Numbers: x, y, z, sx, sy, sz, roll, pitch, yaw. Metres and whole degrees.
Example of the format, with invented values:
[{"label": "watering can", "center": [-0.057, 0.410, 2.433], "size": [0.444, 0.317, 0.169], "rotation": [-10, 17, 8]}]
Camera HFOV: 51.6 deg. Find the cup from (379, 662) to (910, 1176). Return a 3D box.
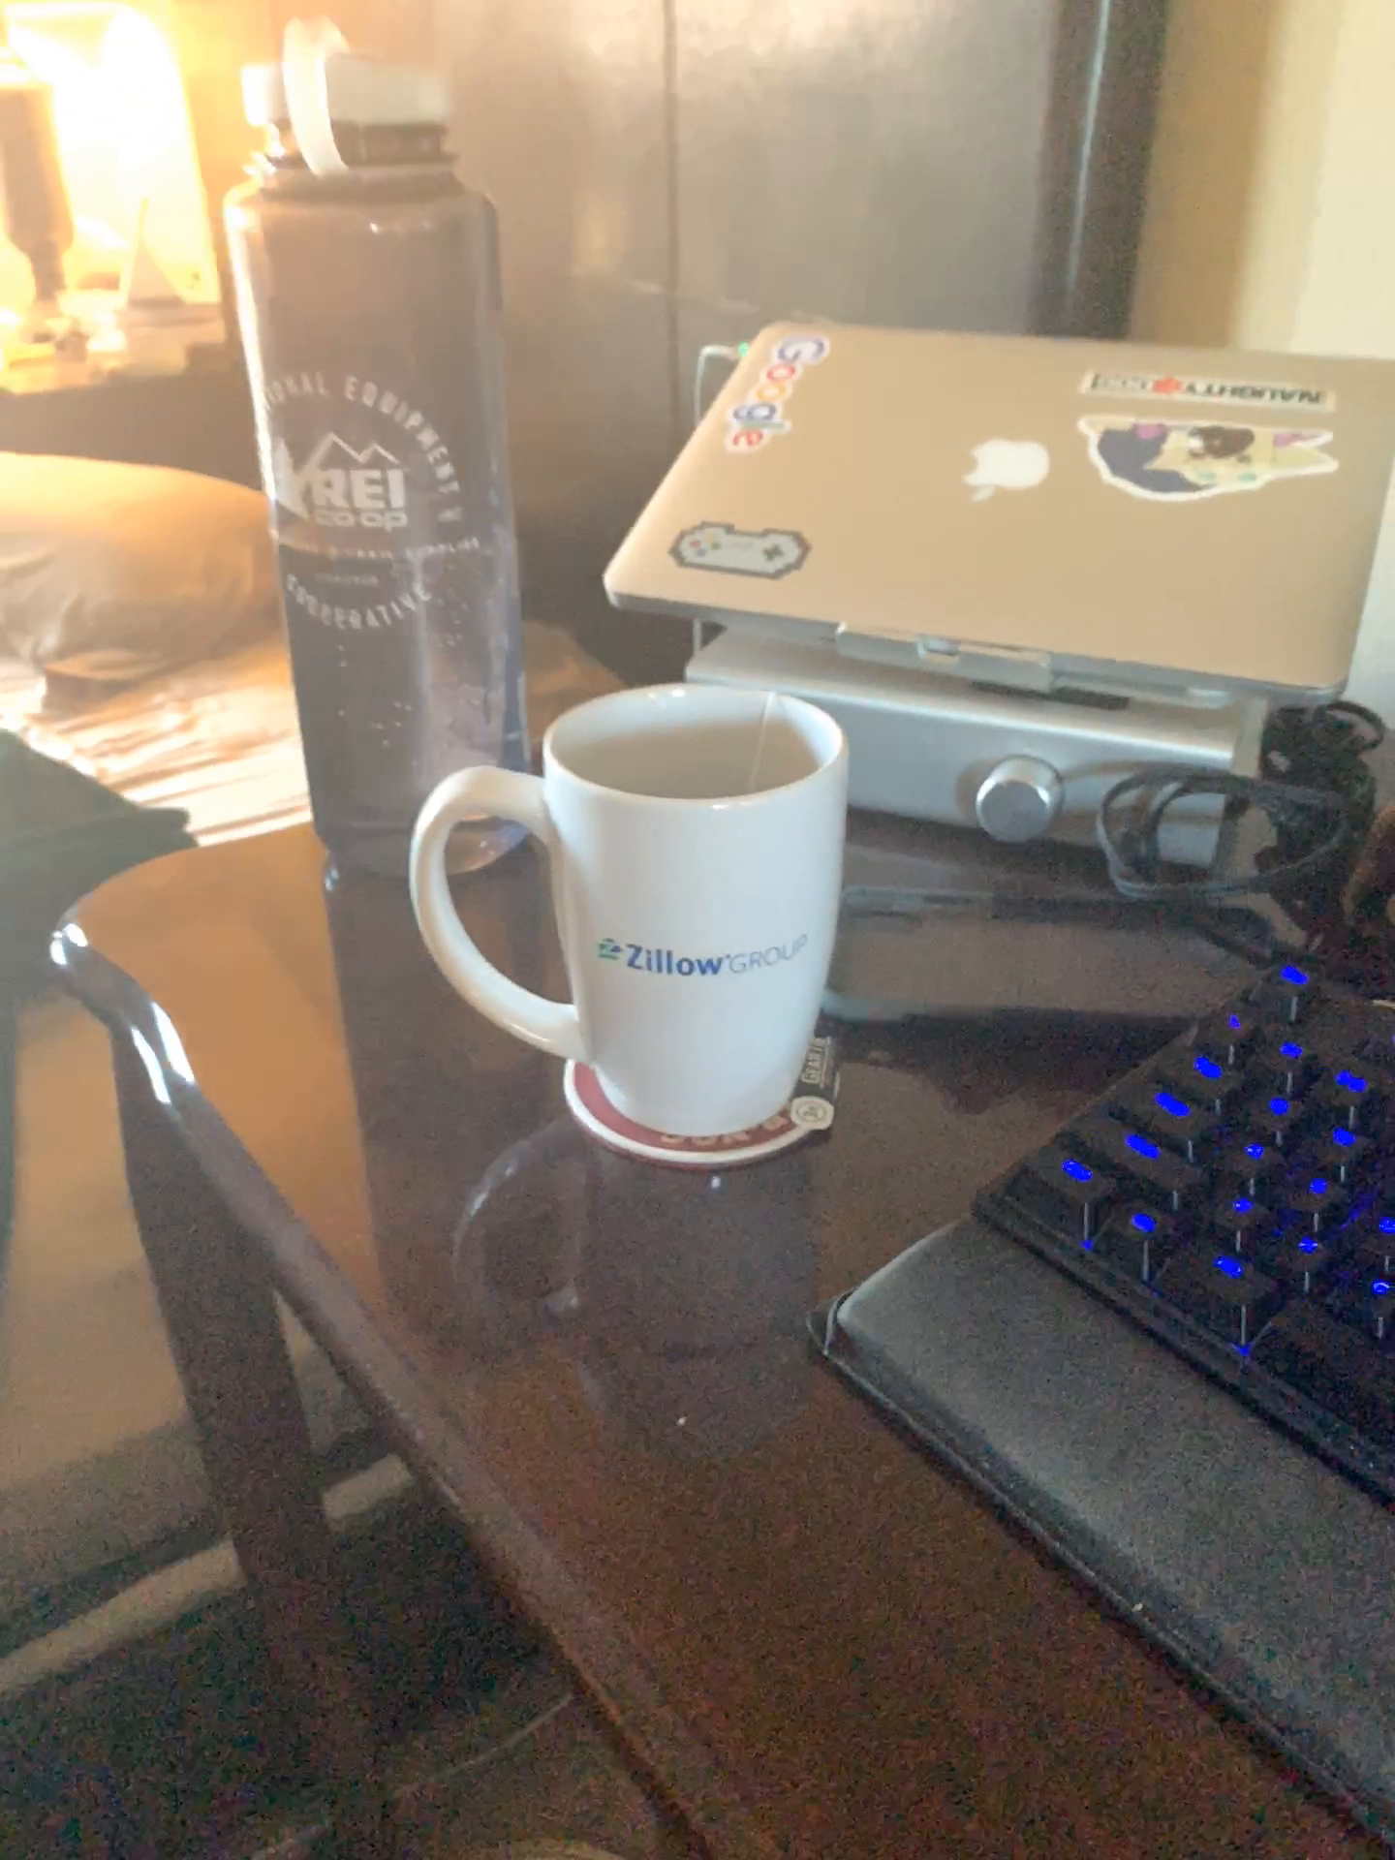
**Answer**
[{"label": "cup", "center": [-0.020, -0.009, 0.426], "size": [0.130, 0.099, 0.101], "rotation": [-7, 32, -11]}]
